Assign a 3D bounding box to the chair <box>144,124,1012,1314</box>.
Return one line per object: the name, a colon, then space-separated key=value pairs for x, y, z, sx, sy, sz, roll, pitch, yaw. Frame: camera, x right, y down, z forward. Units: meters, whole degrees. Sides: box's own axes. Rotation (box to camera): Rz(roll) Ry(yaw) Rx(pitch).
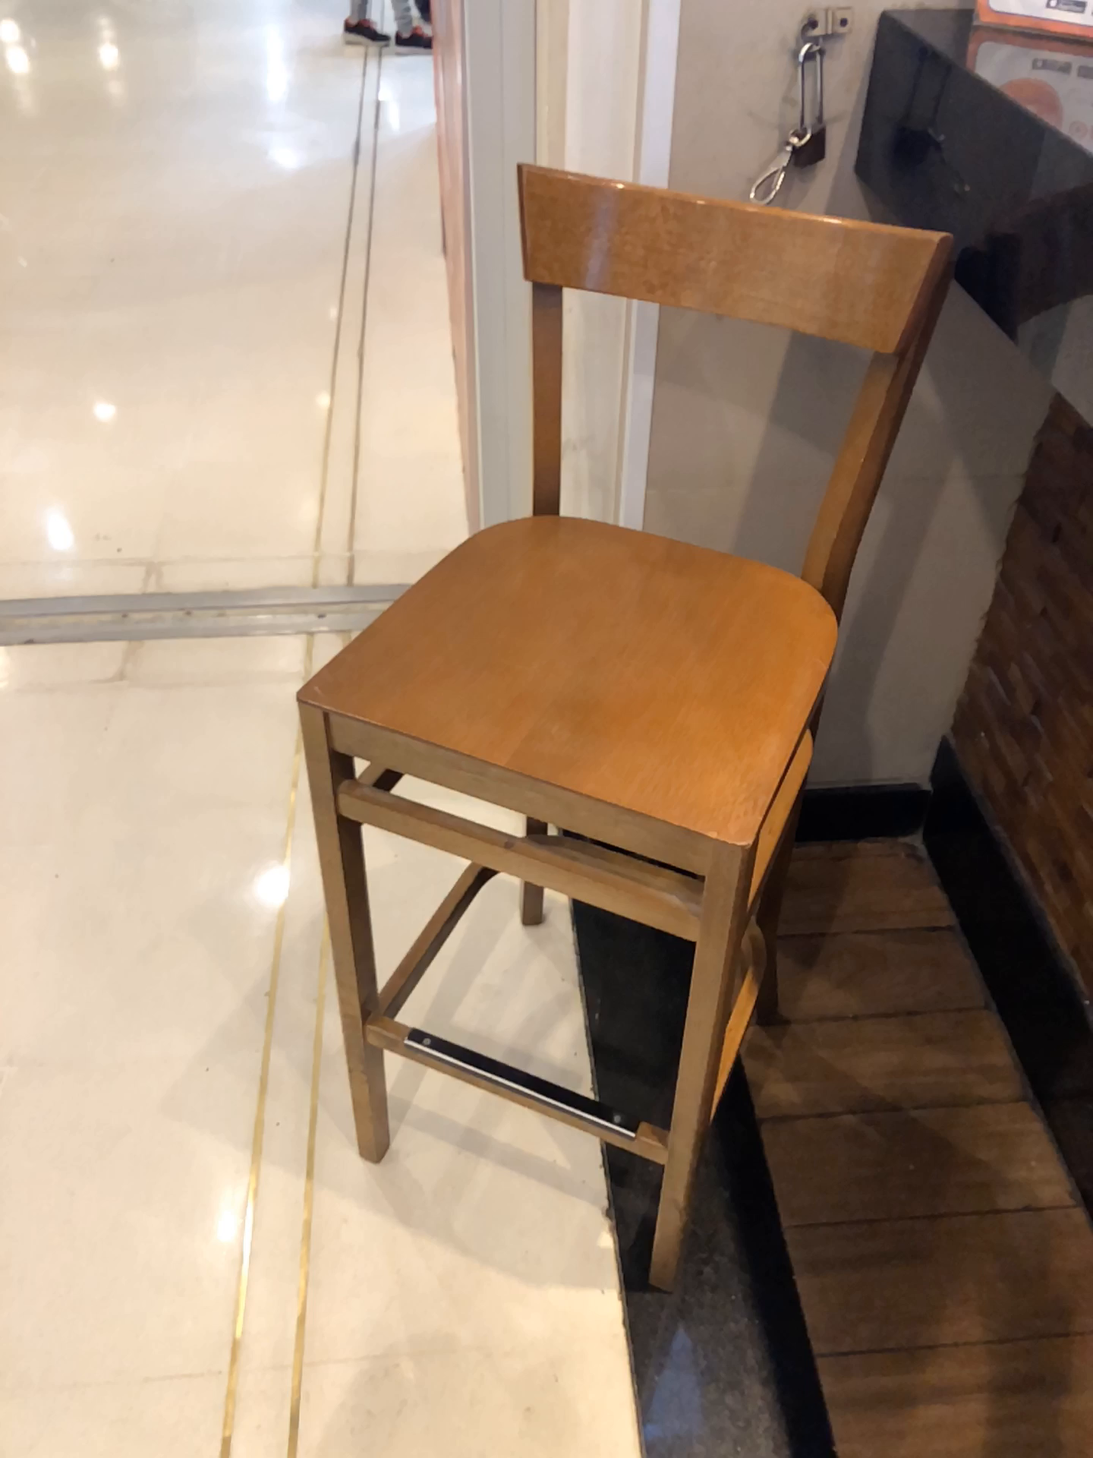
chair: x=0.059 y=0.024 z=1.211 sx=0.480 sy=0.992 sz=0.534 roll=16 pitch=43 yaw=16
